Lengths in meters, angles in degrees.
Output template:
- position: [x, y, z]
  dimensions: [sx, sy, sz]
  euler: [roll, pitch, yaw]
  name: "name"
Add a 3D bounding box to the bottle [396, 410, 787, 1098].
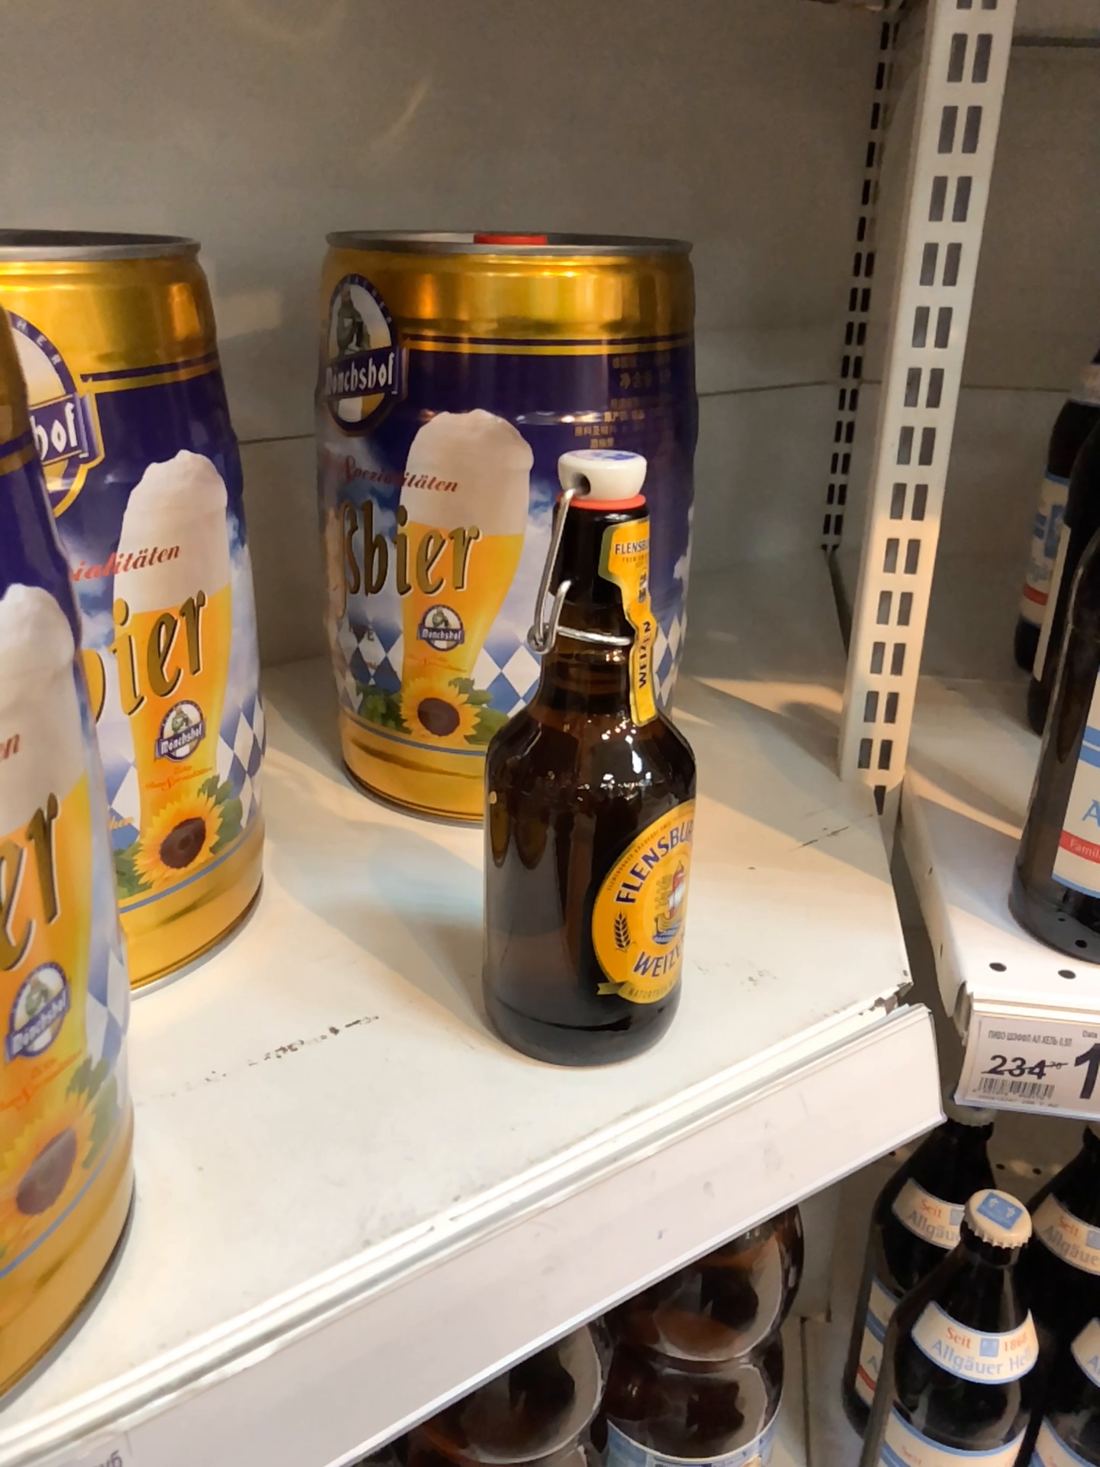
- position: [0.011, 0.002, 0.388]
  dimensions: [0.080, 0.189, 0.080]
  euler: [1, 24, 0]
  name: "bottle"
